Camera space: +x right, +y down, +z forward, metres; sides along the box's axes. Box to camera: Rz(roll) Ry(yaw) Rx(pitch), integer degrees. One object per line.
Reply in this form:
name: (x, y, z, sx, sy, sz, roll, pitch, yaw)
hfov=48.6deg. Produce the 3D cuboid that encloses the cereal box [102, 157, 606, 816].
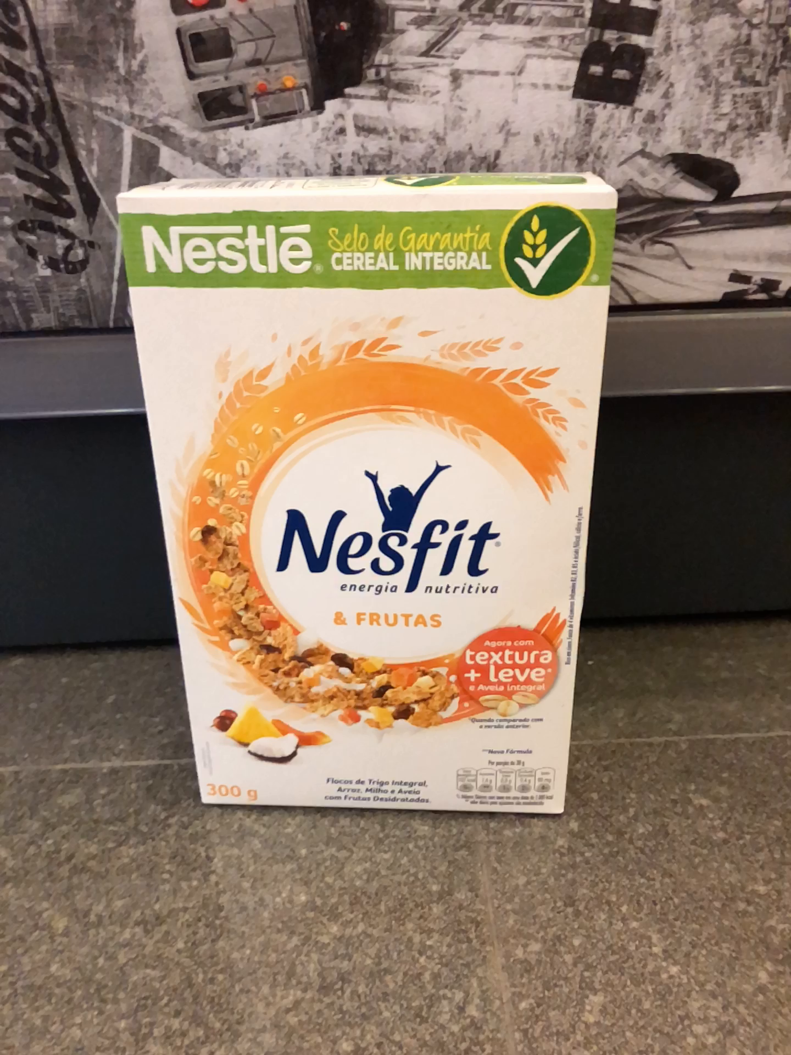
cereal box: (-0.008, -0.007, 0.346, 0.150, 0.248, 0.070, 0, 27, 4)
